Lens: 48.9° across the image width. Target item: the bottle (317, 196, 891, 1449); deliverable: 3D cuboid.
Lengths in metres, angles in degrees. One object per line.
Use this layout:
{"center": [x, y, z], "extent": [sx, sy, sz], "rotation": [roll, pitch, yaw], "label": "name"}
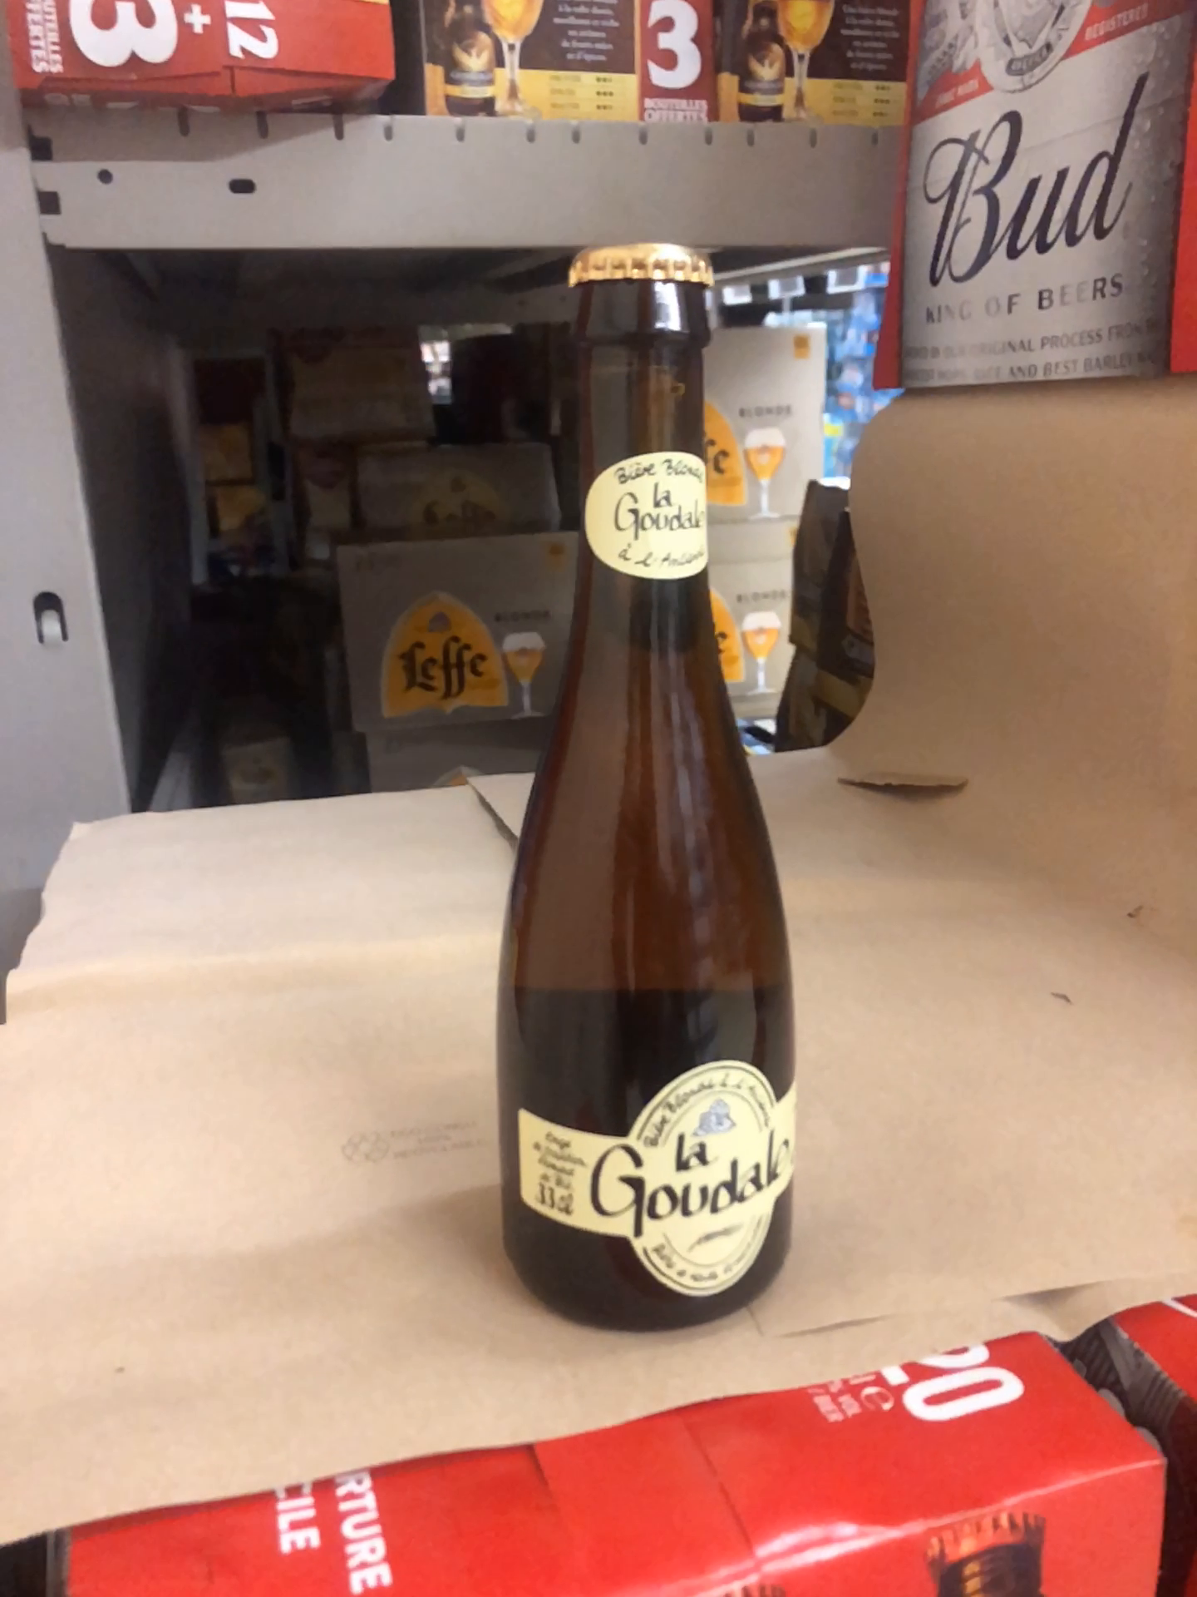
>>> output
{"center": [-0.001, 0.004, 0.267], "extent": [0.080, 0.219, 0.070], "rotation": [-9, 18, -25], "label": "bottle"}
